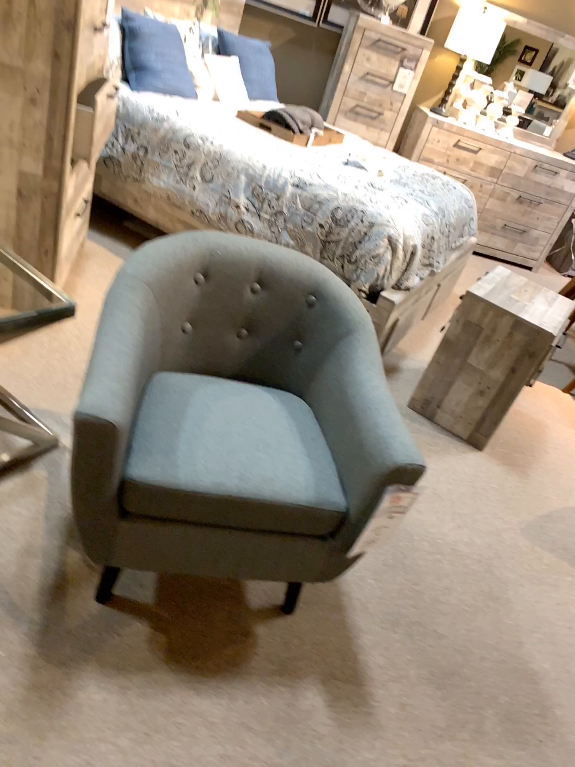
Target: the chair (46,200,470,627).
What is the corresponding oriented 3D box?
[{"bbox_3d":[-0.133,0.074,1.549,0.747,0.701,0.745,11,34,-14],"label":"chair"}]
